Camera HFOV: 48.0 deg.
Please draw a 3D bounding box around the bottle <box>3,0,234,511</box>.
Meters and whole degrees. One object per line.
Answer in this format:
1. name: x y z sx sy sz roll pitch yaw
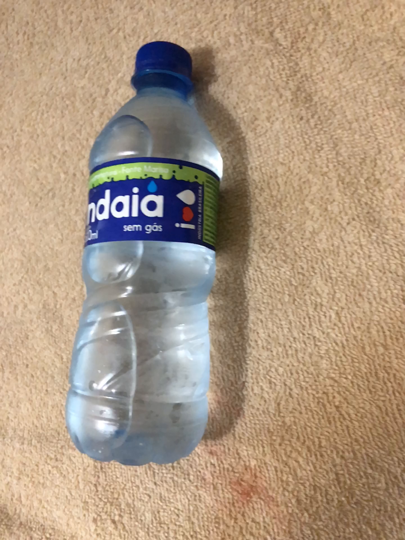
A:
1. bottle: -0.035 -0.016 0.212 0.080 0.050 0.210 -4 79 33
